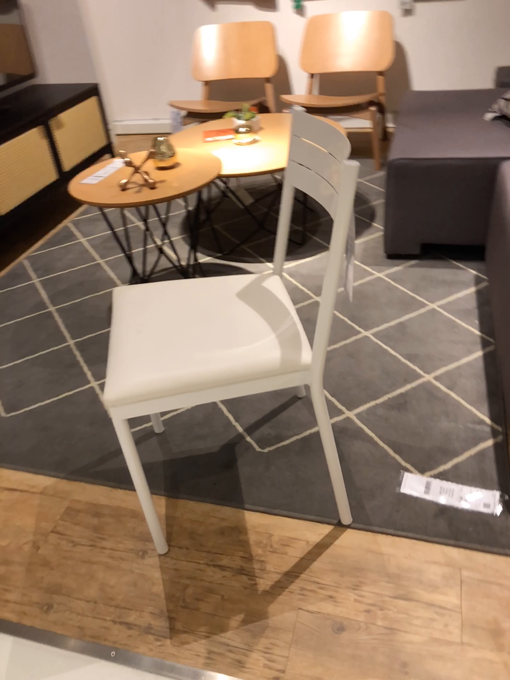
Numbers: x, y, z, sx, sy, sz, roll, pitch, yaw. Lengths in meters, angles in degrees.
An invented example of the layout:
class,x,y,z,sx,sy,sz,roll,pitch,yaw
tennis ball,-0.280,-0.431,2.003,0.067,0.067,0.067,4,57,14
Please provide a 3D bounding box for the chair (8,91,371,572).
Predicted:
class,x,y,z,sx,sy,sz,roll,pitch,yaw
chair,-0.074,-0.011,1.121,0.470,0.774,0.453,-10,34,-4
